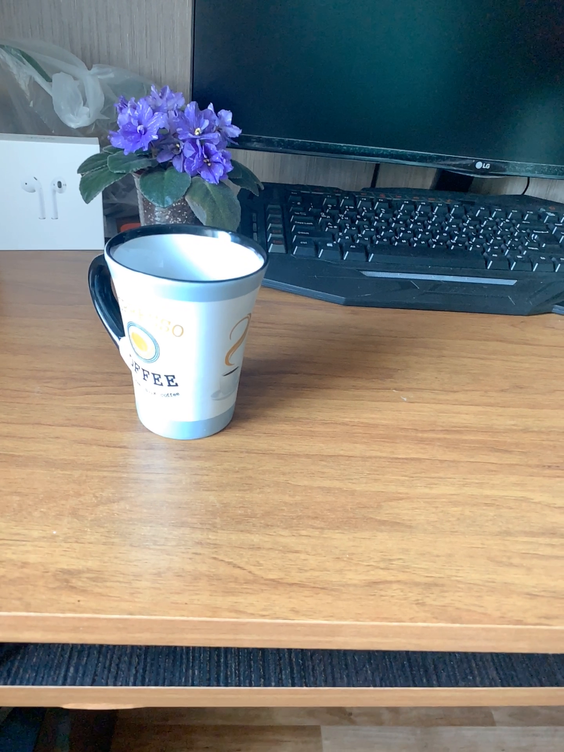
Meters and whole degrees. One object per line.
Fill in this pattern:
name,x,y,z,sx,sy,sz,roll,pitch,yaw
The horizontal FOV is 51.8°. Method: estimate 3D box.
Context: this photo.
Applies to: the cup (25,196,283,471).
cup,-0.068,-0.029,0.311,0.110,0.100,0.070,26,35,31
